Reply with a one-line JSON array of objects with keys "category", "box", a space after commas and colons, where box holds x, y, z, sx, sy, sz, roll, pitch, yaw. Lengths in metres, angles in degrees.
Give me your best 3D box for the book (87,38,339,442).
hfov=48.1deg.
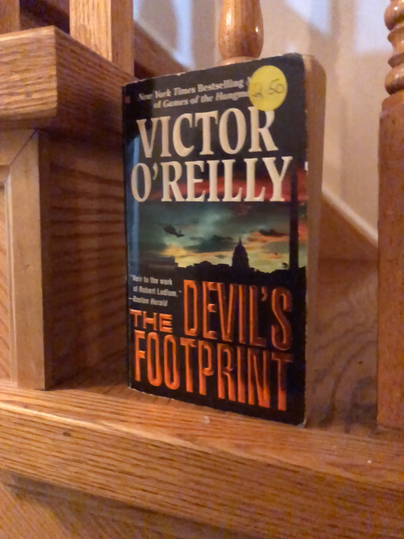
[{"category": "book", "box": [0.005, -0.014, 0.242, 0.120, 0.170, 0.050, 3, 9, 32]}]
